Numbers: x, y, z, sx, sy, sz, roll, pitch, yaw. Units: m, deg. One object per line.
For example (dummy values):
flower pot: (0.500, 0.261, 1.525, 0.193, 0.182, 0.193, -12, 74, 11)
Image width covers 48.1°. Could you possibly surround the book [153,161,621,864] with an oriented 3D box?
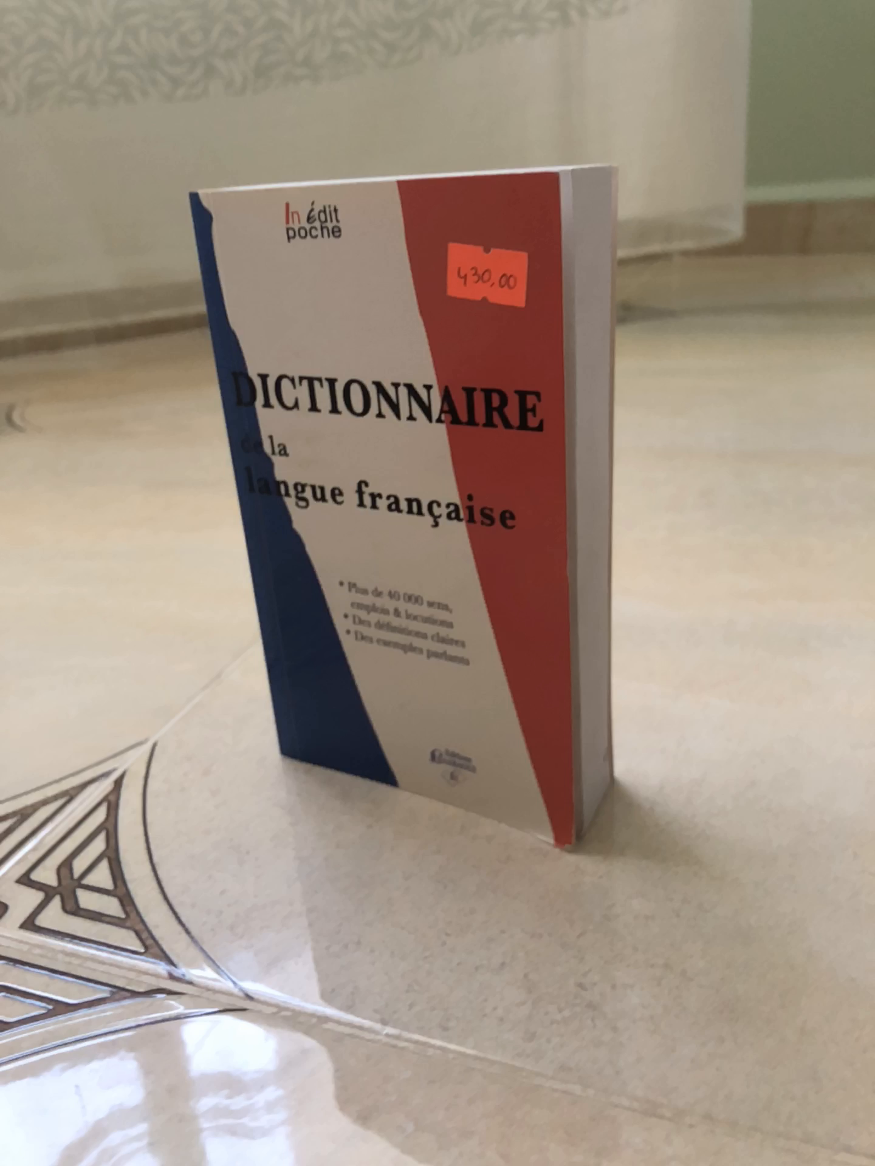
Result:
book: (-0.010, -0.019, 0.285, 0.121, 0.182, 0.034, 10, 28, 31)
